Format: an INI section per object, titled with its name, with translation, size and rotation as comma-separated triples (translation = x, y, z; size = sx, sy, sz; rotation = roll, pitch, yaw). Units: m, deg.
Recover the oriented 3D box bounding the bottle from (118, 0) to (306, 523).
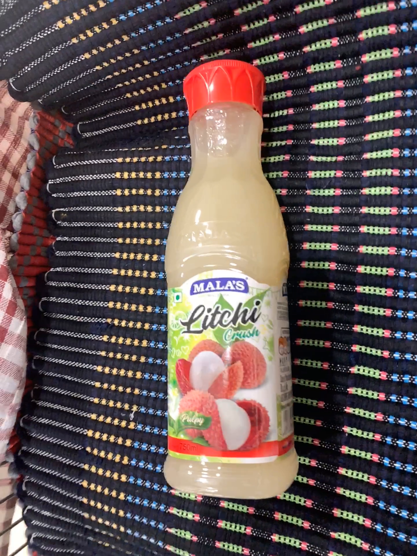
[bottle]
translation = 0.005, -0.021, 0.244
size = 0.080, 0.080, 0.260
rotation = -3, 83, 17
